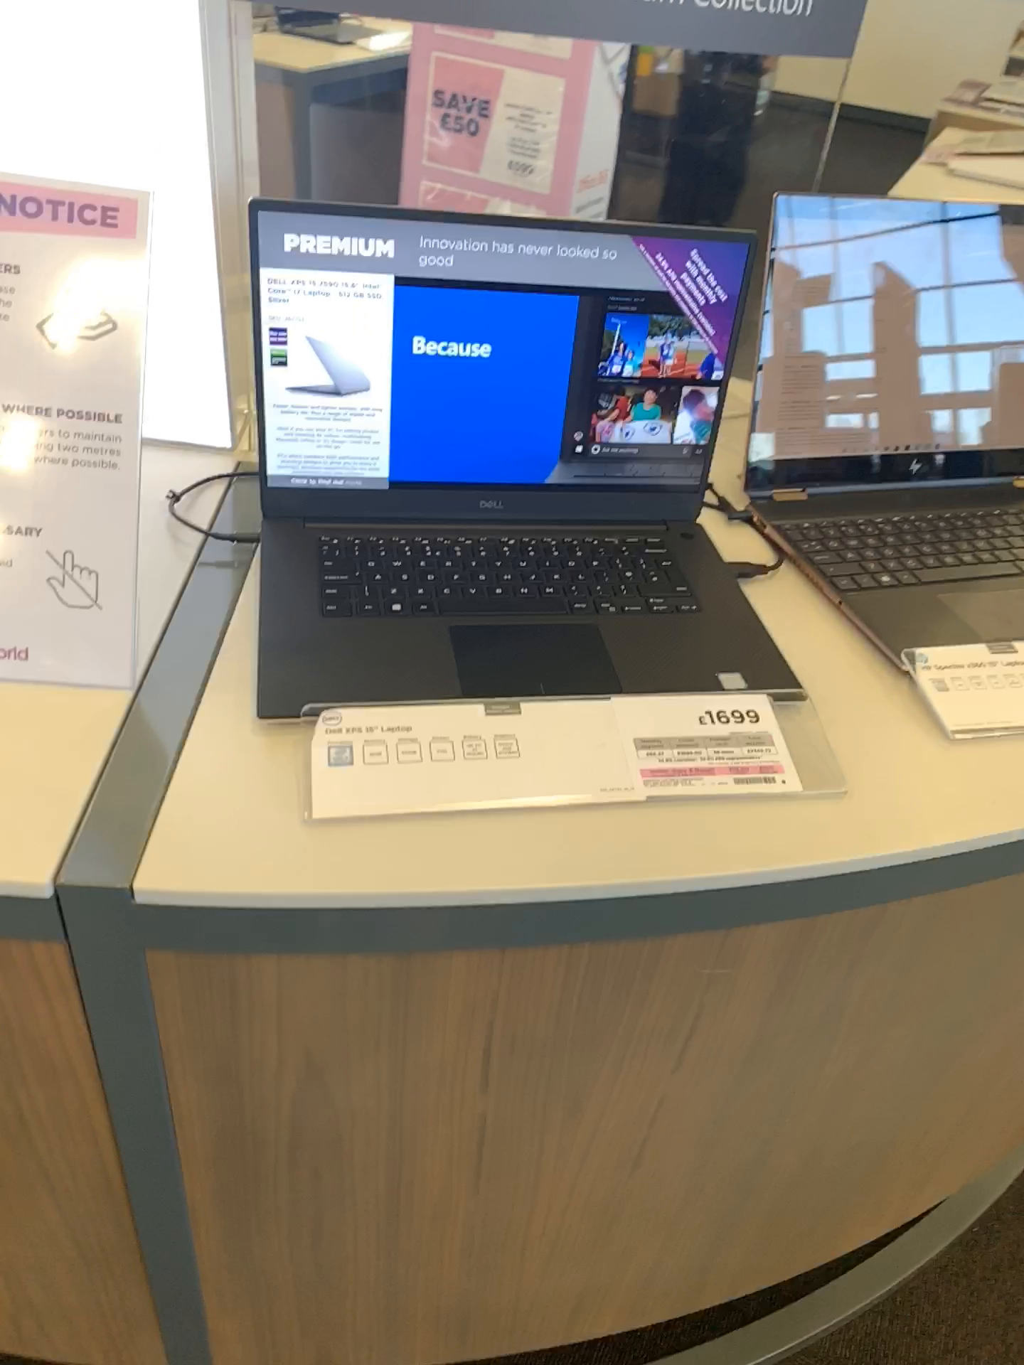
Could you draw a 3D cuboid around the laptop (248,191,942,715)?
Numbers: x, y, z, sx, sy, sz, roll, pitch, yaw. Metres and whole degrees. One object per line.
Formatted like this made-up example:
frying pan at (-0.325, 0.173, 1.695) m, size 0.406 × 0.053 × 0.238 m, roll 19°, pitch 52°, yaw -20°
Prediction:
laptop at (0.016, -0.151, 0.677) m, size 0.351 × 0.224 × 0.255 m, roll -2°, pitch 38°, yaw -13°
